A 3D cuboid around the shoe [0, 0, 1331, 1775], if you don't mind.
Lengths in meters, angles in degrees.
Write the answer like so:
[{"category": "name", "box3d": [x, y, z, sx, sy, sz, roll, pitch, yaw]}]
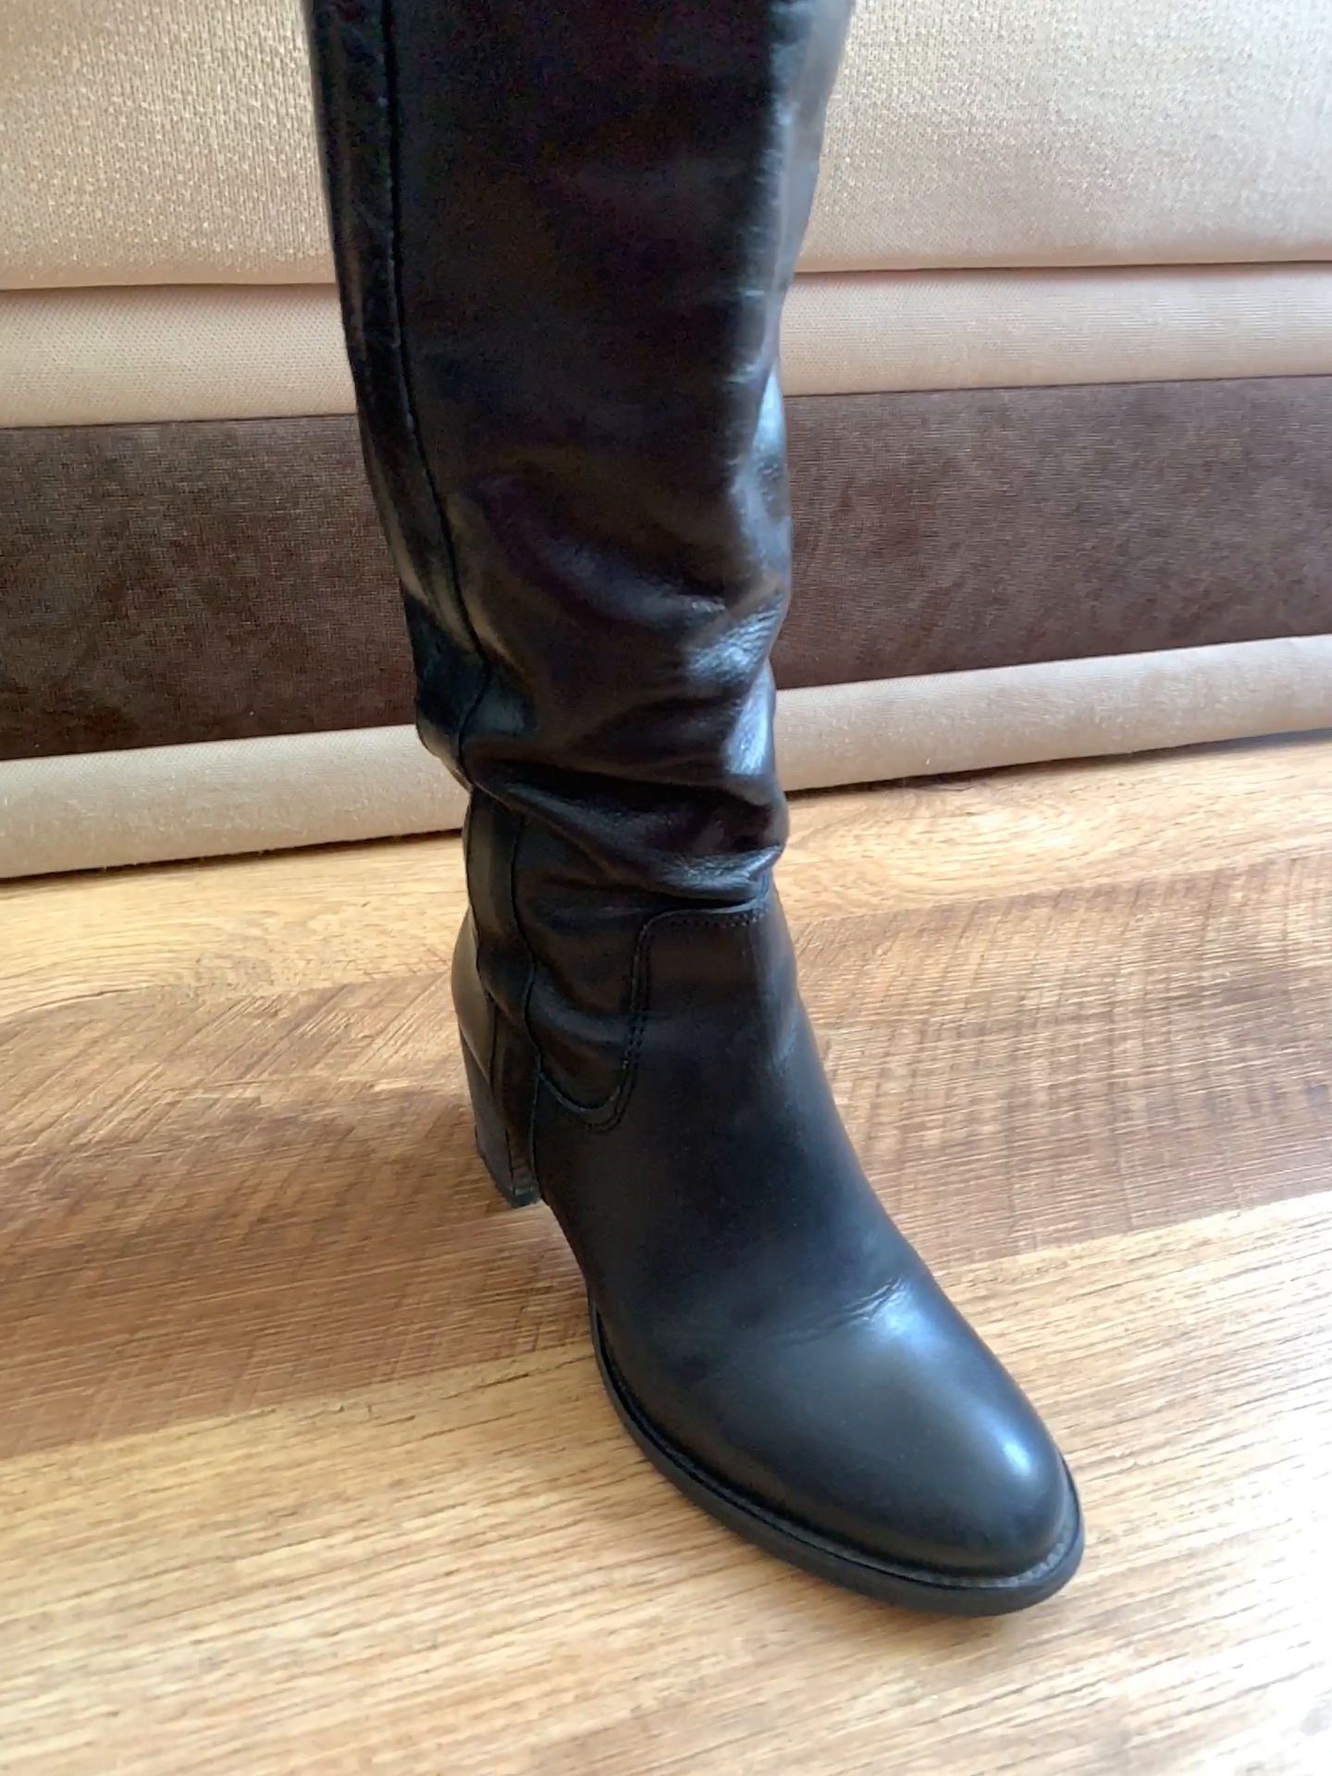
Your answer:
[{"category": "shoe", "box3d": [0.014, -0.092, 0.237, 0.100, 0.497, 0.211, -23, 39, -34]}]
